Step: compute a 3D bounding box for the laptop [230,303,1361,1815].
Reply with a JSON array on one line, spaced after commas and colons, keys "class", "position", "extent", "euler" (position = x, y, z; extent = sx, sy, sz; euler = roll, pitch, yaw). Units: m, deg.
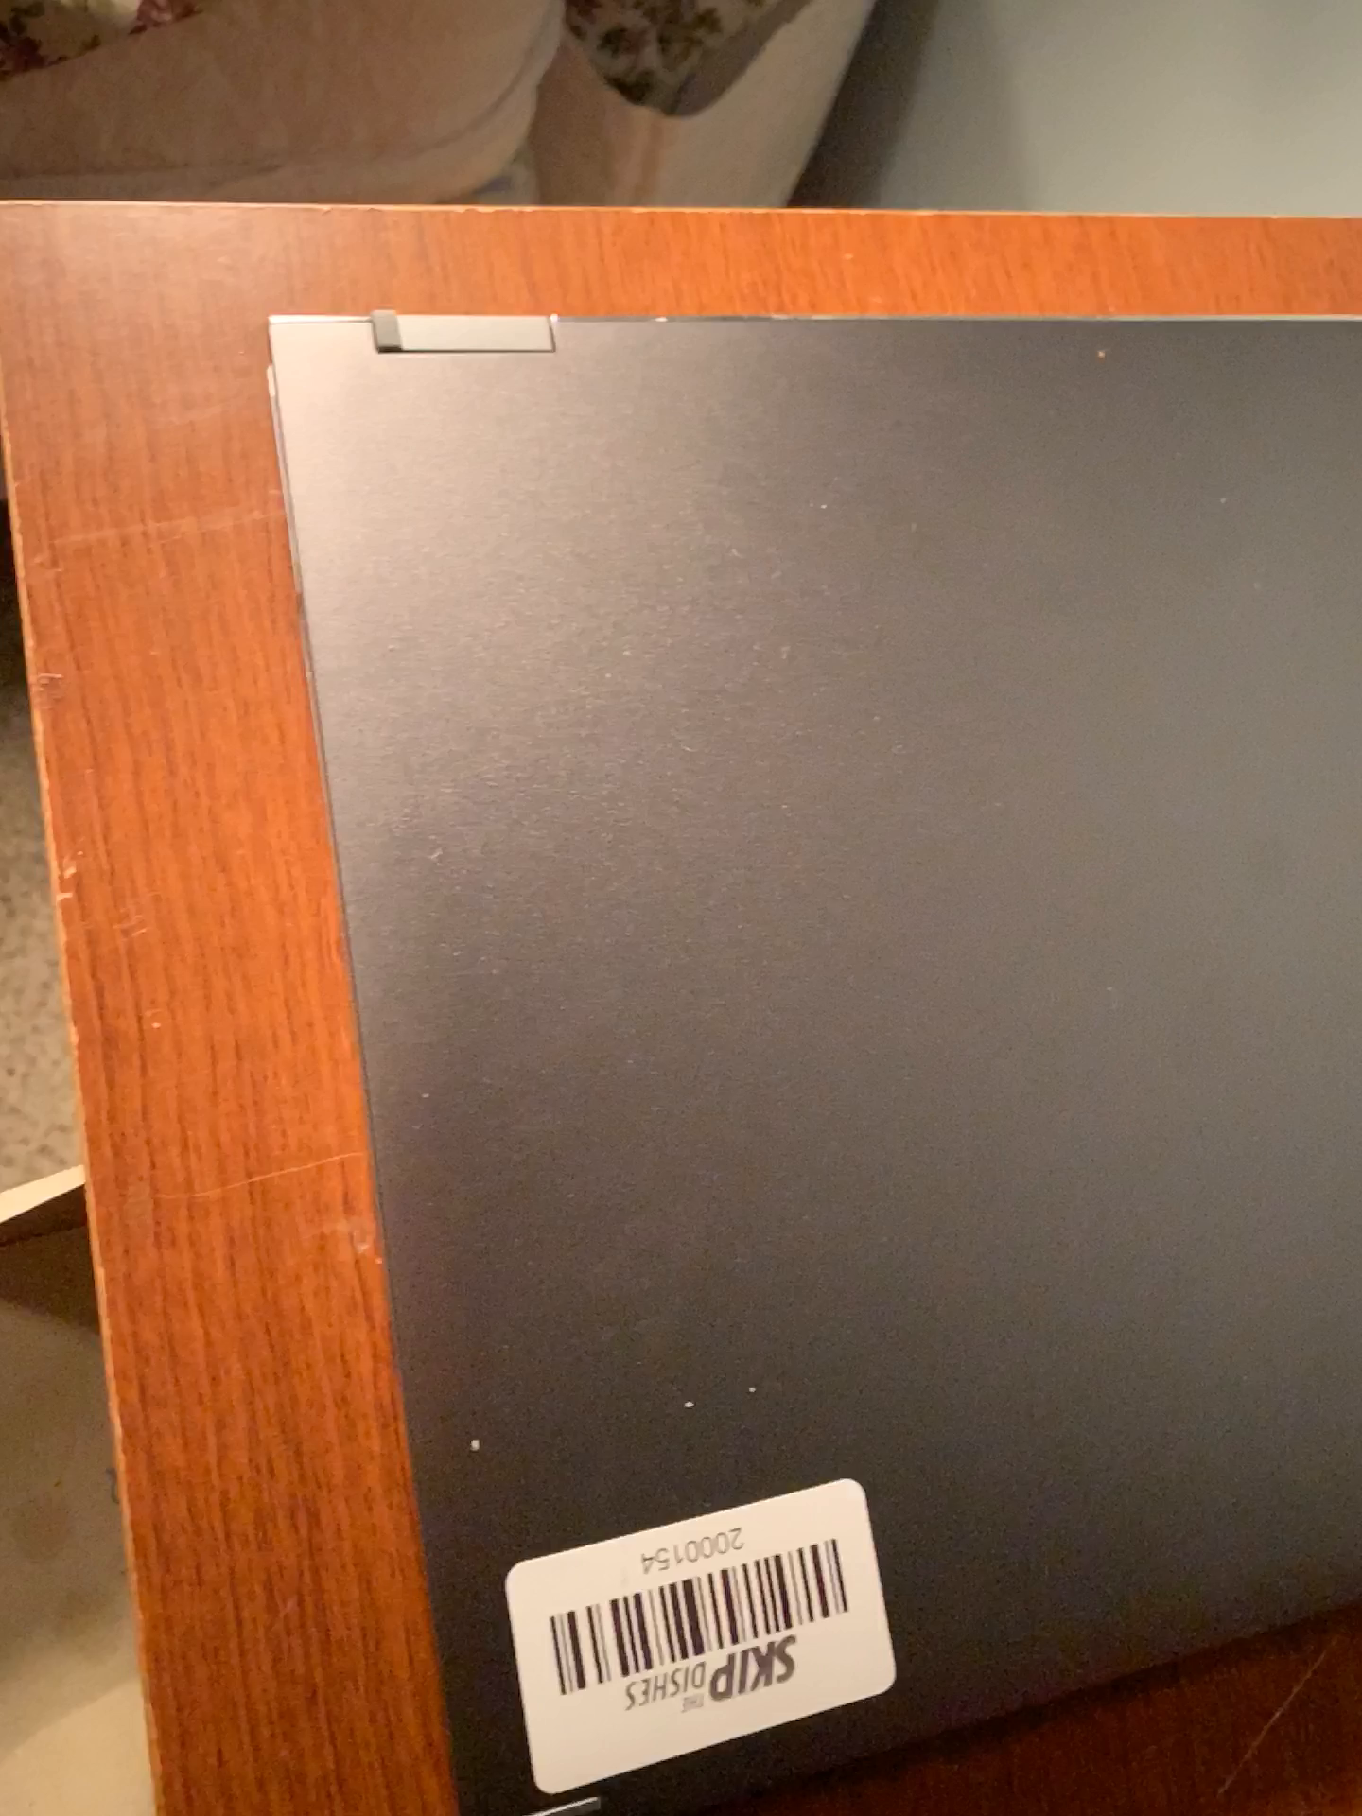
[{"class": "laptop", "position": [0.088, -0.001, 0.254], "extent": [0.300, 0.002, 0.232], "euler": [-7, 80, -17]}]
